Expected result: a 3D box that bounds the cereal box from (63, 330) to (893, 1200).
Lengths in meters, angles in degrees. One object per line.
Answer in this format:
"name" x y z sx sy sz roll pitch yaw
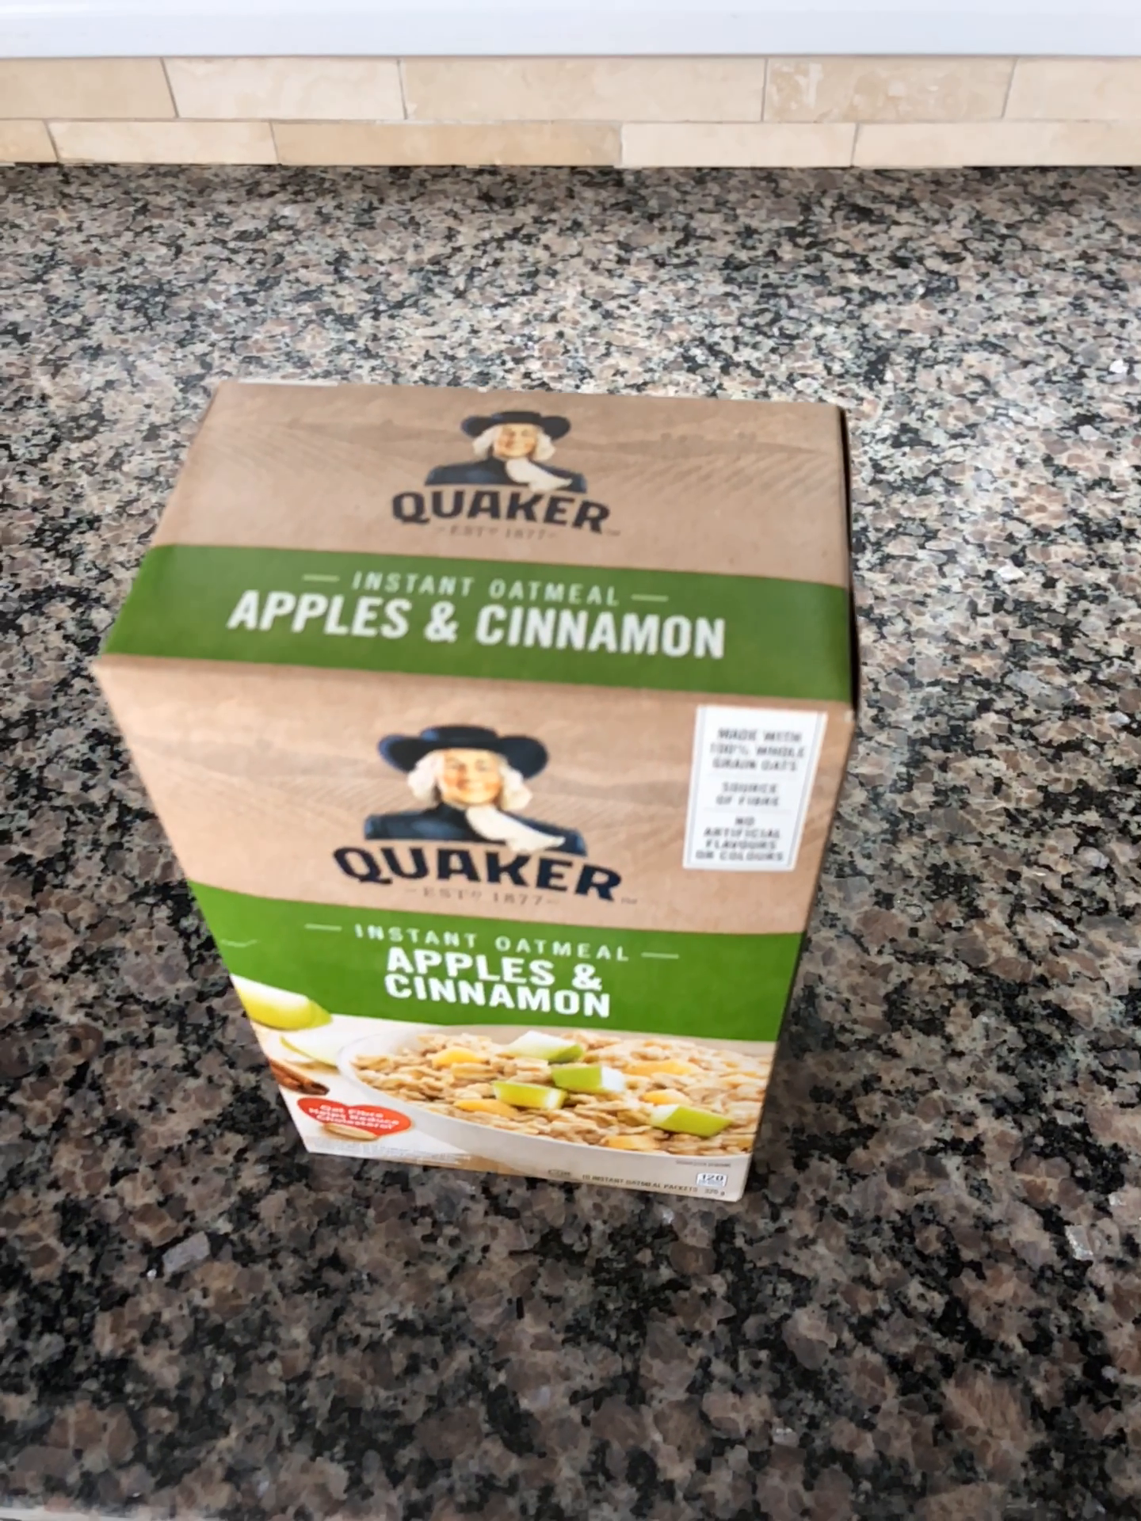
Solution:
"cereal box" -0.008 0.018 0.305 0.130 0.210 0.090 5 53 6
